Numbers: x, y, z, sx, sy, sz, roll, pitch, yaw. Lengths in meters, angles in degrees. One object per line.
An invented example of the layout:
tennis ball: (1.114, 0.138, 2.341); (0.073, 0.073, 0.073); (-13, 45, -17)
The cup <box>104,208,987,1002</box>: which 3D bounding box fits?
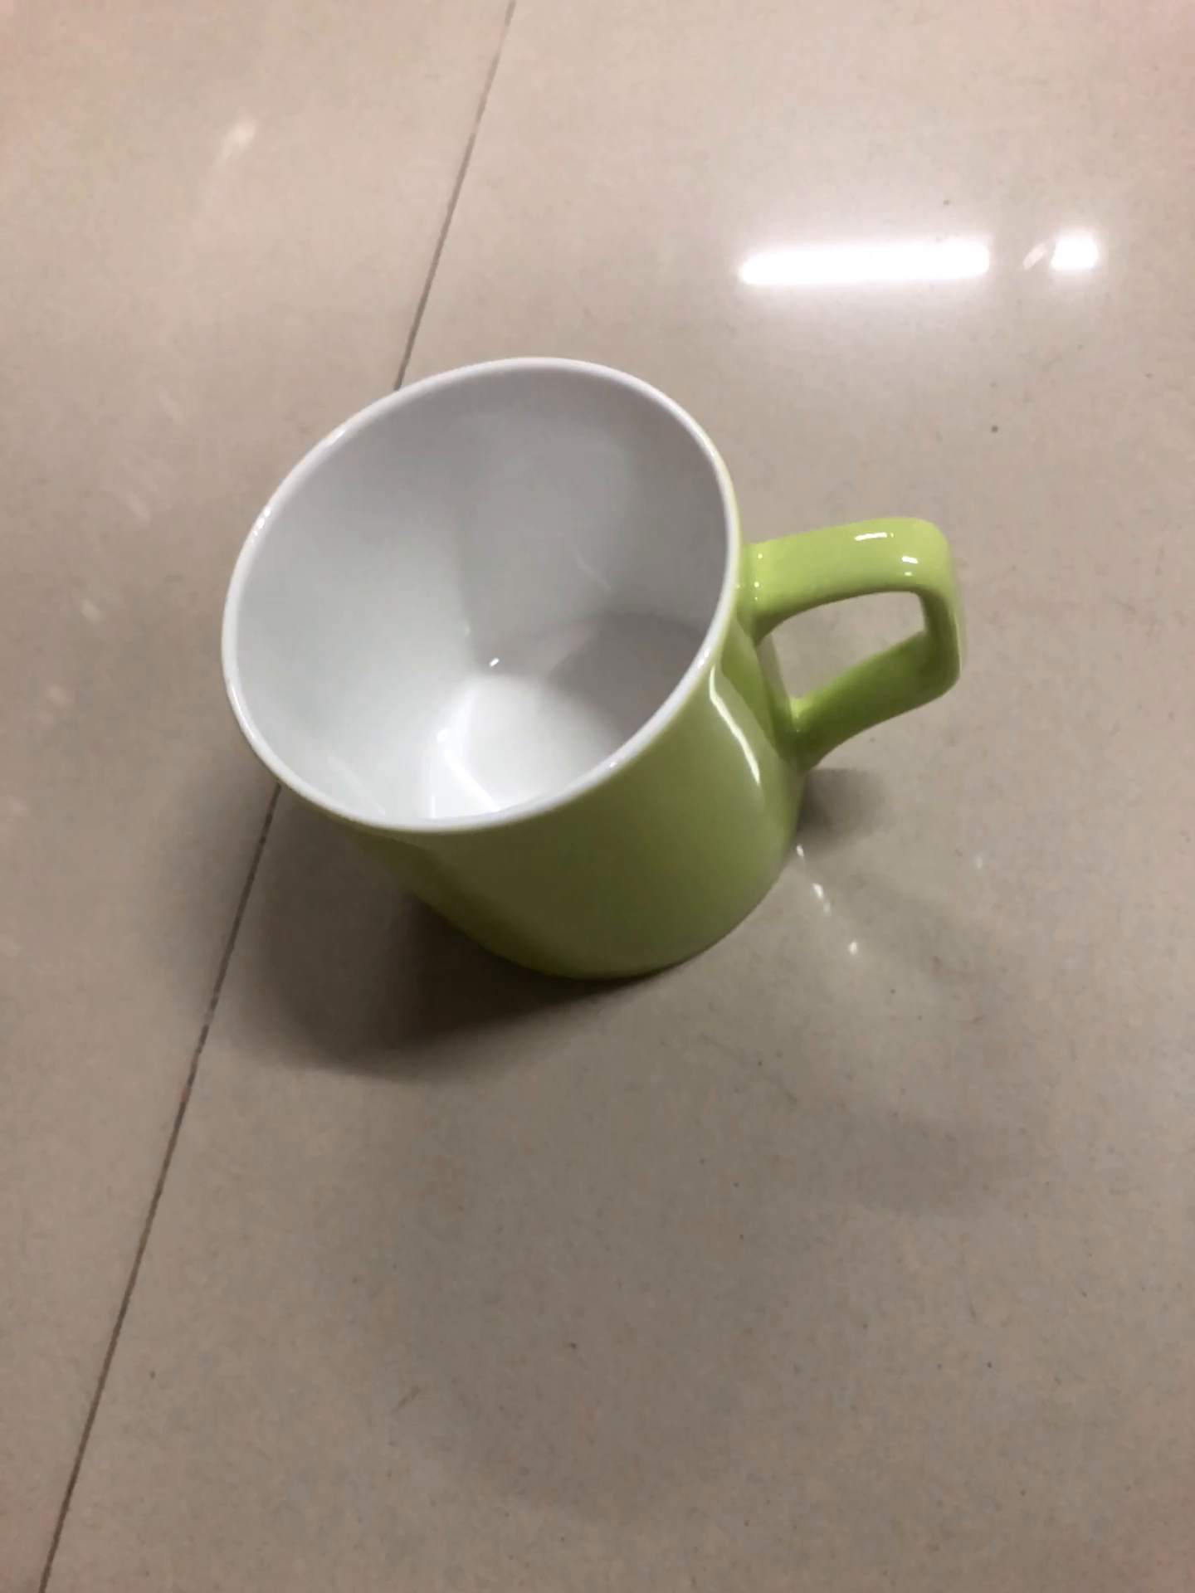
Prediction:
cup: (0.000, -0.019, 0.198); (0.100, 0.080, 0.070); (-7, 64, 15)
